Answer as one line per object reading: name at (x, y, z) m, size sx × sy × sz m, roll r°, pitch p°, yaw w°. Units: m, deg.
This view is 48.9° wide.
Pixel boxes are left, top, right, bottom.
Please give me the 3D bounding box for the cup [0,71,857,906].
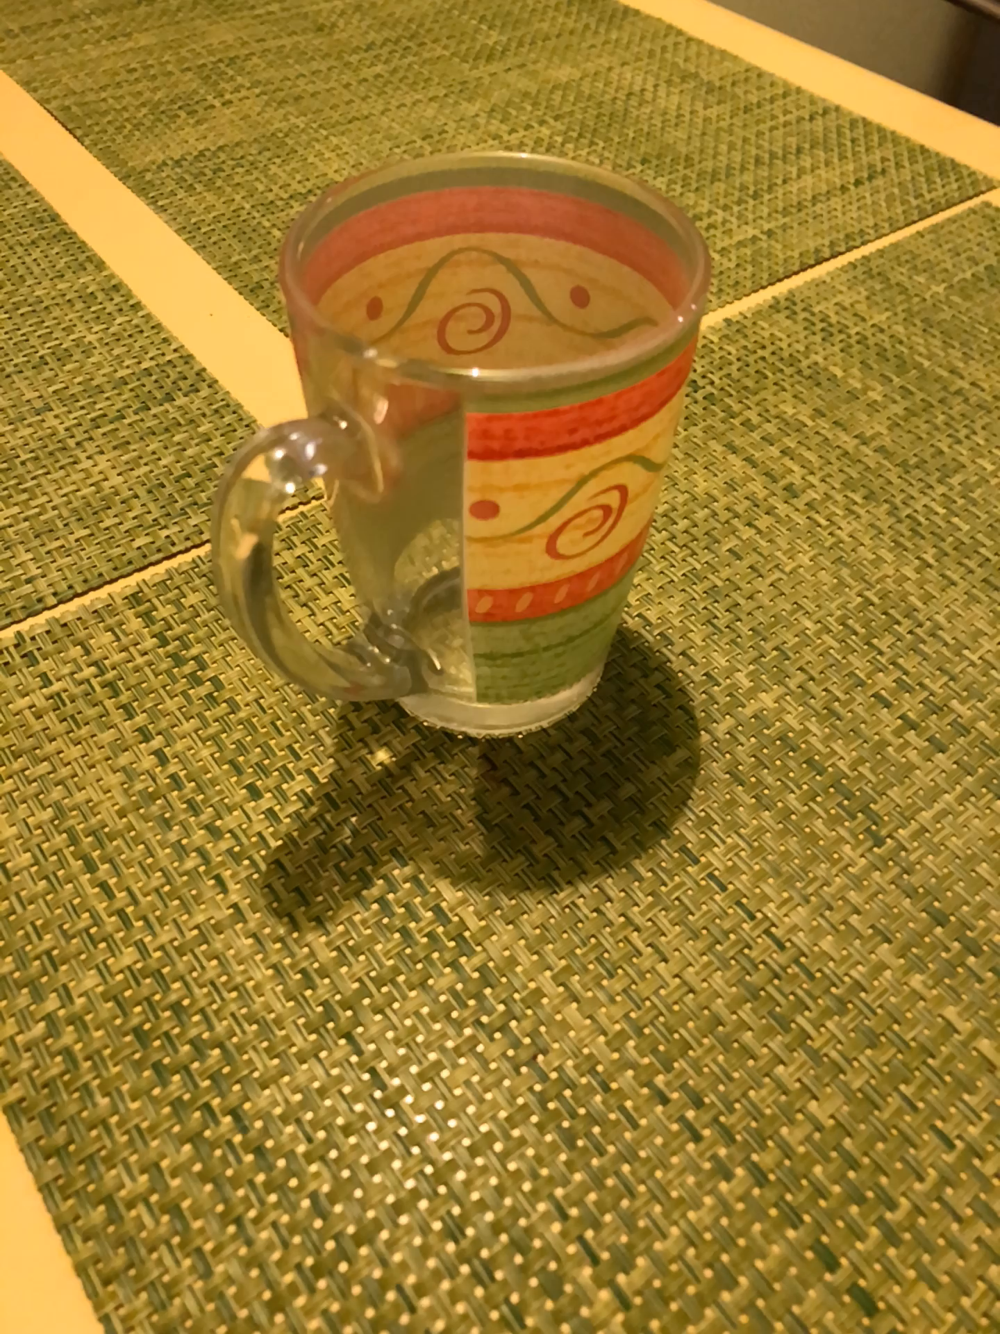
cup at (-0.010, -0.042, 0.219) m, size 0.090 × 0.089 × 0.121 m, roll 33°, pitch 55°, yaw 24°
